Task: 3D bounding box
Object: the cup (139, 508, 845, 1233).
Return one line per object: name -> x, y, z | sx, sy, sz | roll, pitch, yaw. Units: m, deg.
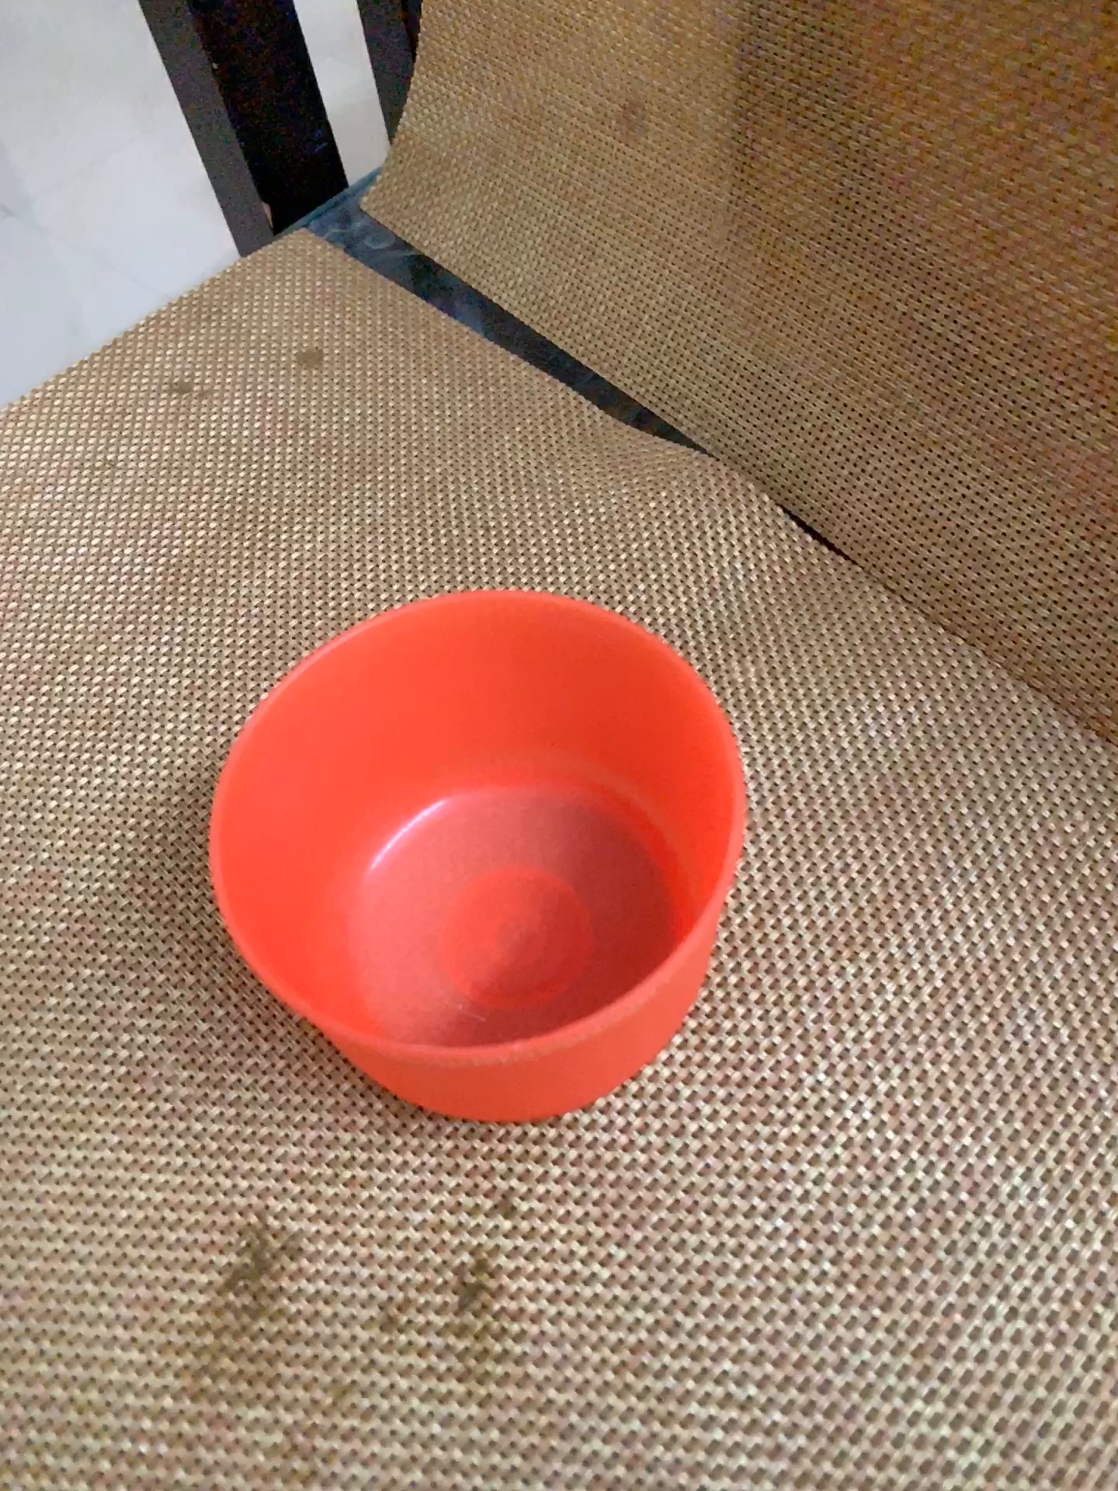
cup -> -0.010, 0.017, 0.176 | 0.070, 0.050, 0.070 | -3, 56, 4
